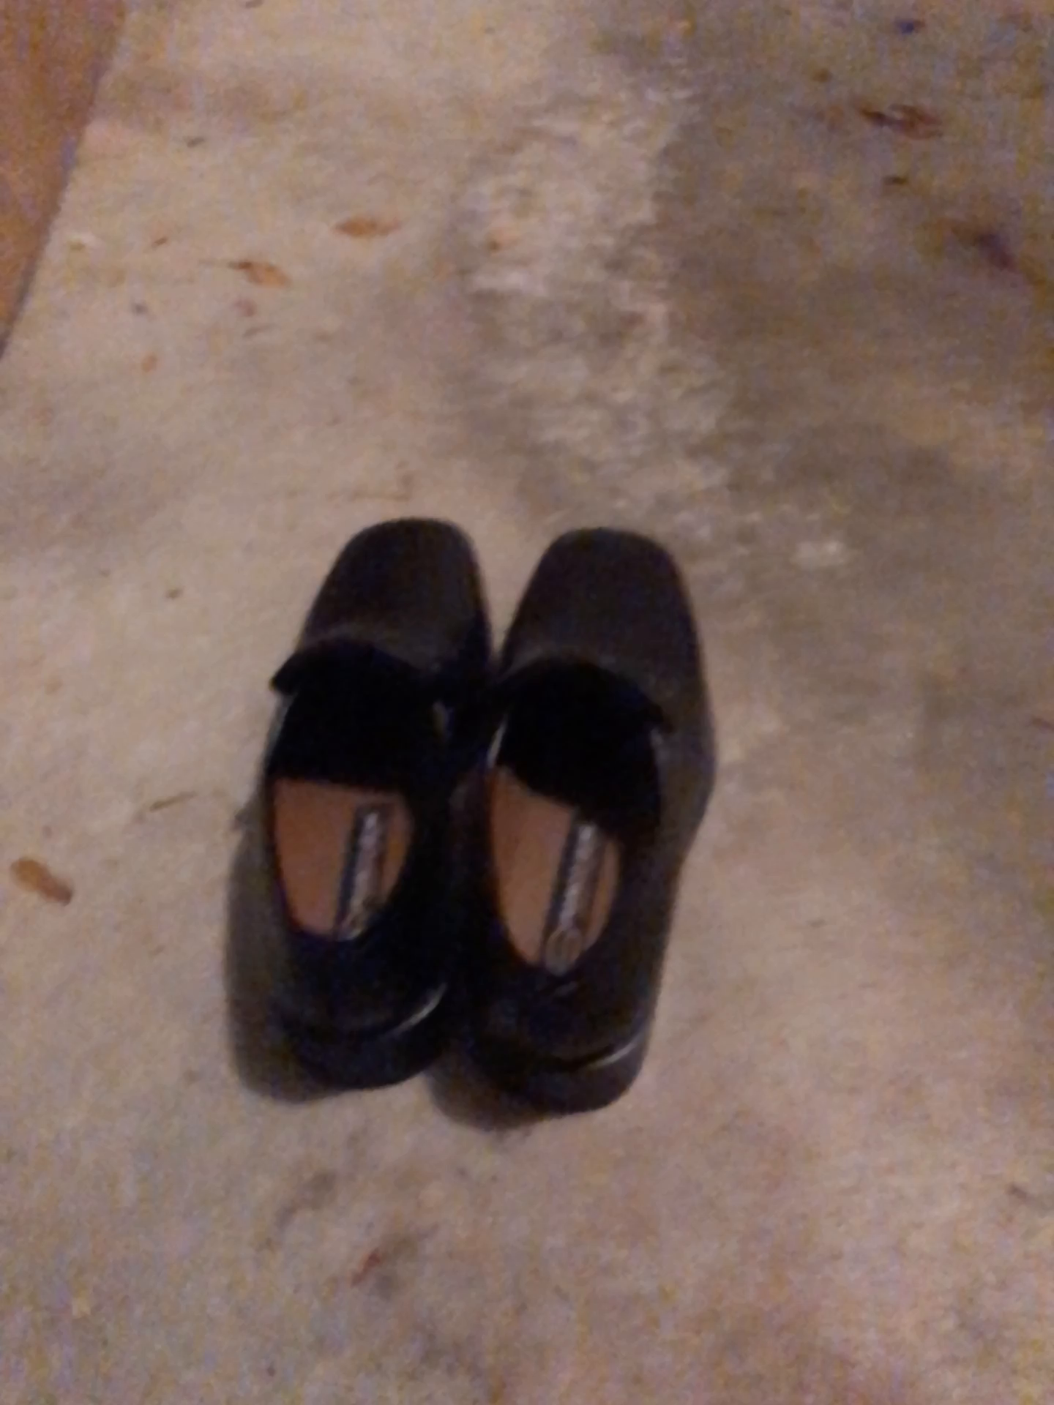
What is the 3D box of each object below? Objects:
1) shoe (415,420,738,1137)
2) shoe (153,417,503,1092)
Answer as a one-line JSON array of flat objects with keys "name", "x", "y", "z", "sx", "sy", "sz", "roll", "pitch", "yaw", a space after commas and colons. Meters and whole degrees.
[{"name": "shoe", "x": 0.032, "y": 0.019, "z": 0.496, "sx": 0.101, "sy": 0.113, "sz": 0.279, "roll": 3, "pitch": 53, "yaw": 6}, {"name": "shoe", "x": -0.067, "y": 0.012, "z": 0.505, "sx": 0.104, "sy": 0.113, "sz": 0.269, "roll": -2, "pitch": 53, "yaw": 2}]
